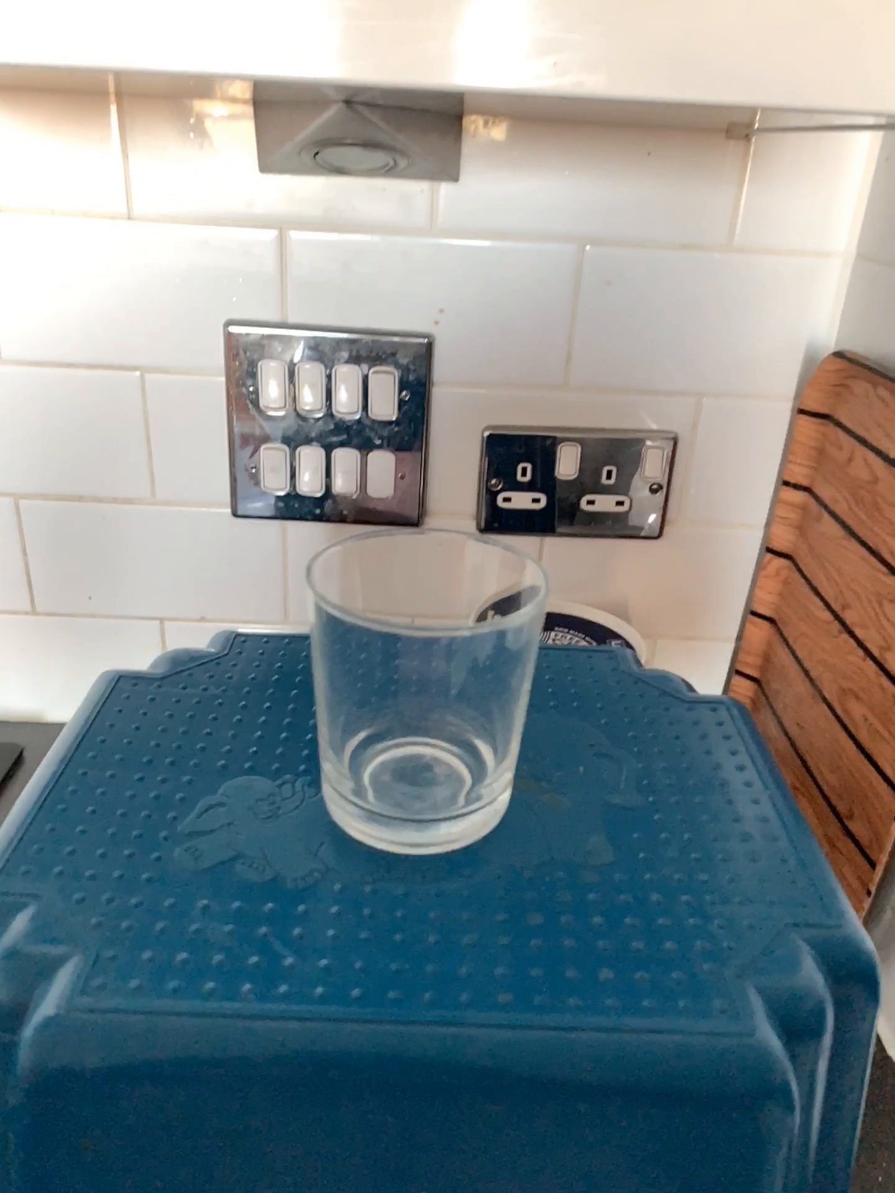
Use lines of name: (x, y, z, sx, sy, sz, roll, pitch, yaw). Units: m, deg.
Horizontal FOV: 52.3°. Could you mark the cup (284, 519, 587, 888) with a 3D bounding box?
cup: (-0.003, 0.031, 0.304, 0.076, 0.085, 0.067, 12, 27, 17)
